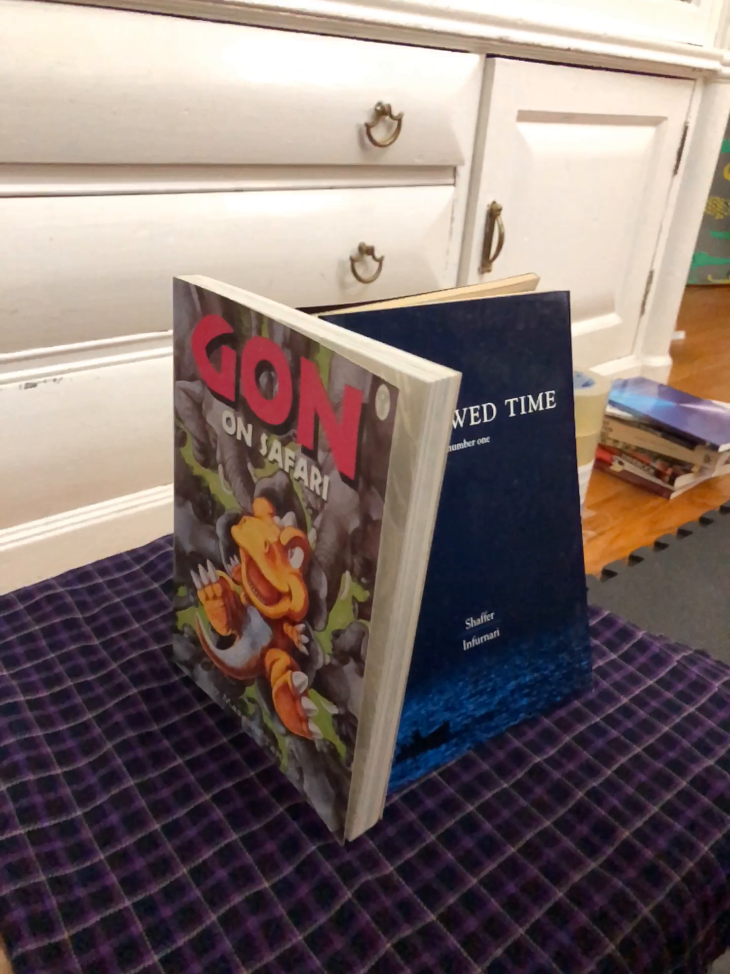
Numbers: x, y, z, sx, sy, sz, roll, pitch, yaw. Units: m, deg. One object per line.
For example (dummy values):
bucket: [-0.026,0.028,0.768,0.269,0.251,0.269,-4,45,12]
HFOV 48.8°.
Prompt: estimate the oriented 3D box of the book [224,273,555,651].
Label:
book: [0.008,-0.008,0.403,0.140,0.199,0.010,-20,55,-38]

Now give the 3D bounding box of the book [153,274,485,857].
book: [-0.033,0.026,0.321,0.020,0.189,0.140,-13,31,-44]

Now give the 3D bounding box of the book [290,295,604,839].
book: [0.047,0.025,0.351,0.150,0.200,0.010,-16,13,-37]
